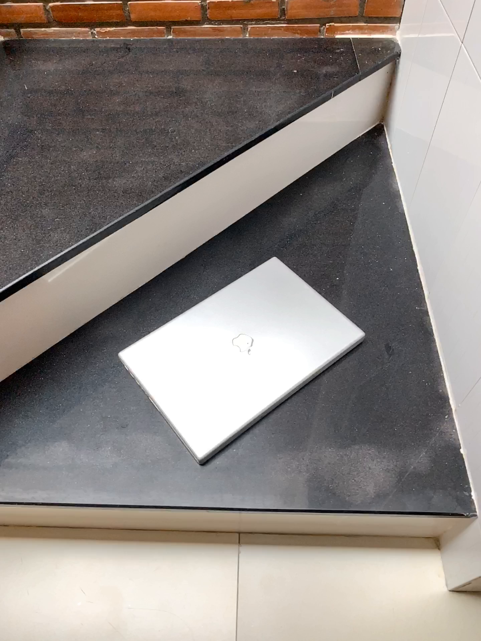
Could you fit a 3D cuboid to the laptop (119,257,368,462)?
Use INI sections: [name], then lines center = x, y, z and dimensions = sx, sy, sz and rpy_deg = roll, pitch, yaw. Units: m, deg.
[laptop]
center = 0.011, 0.055, 1.058
dimensions = 0.440, 0.013, 0.292
rpy_deg = -34, 63, -21
